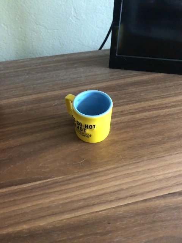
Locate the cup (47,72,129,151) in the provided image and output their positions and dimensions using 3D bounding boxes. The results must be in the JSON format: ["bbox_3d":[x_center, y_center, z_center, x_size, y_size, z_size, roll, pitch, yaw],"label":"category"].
[{"bbox_3d":[-0.004,-0.016,0.286,0.090,0.060,0.060,27,54,22],"label":"cup"}]
